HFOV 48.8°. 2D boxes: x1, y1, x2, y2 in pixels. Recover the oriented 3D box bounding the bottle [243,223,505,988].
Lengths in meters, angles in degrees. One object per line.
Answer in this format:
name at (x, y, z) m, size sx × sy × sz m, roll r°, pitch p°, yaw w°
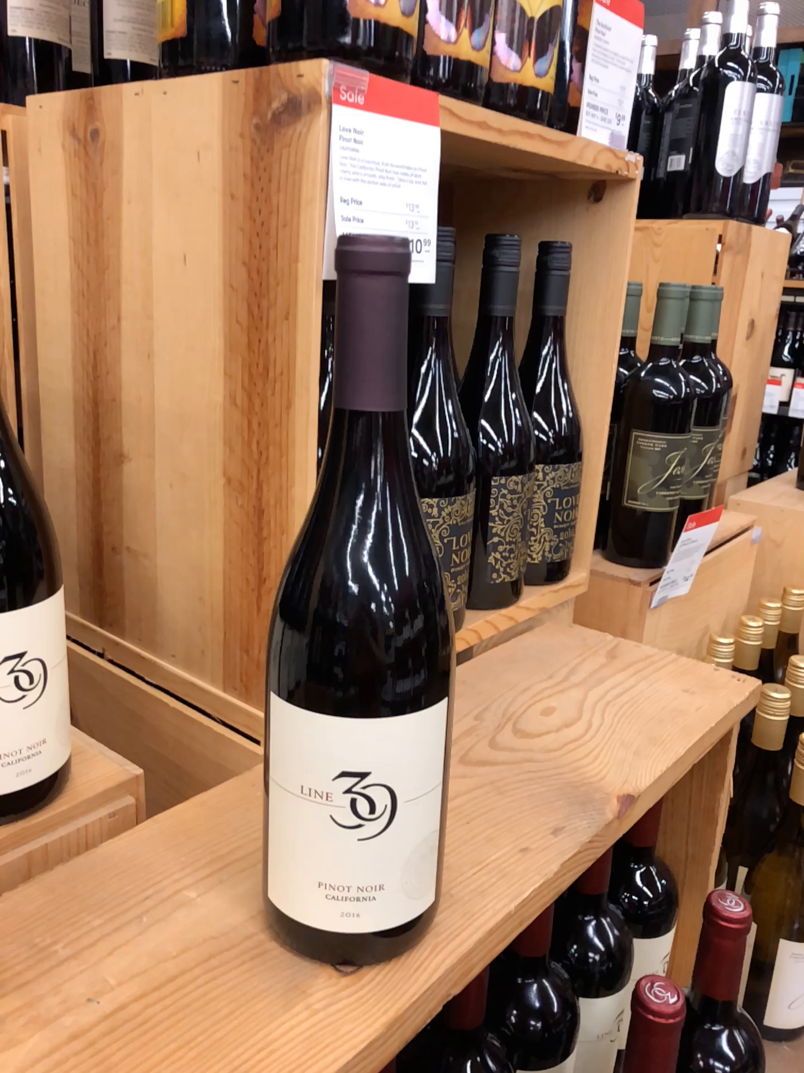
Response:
bottle at (-0.015, 0.029, 0.353) m, size 0.080 × 0.283 × 0.080 m, roll 3°, pitch 16°, yaw -1°
